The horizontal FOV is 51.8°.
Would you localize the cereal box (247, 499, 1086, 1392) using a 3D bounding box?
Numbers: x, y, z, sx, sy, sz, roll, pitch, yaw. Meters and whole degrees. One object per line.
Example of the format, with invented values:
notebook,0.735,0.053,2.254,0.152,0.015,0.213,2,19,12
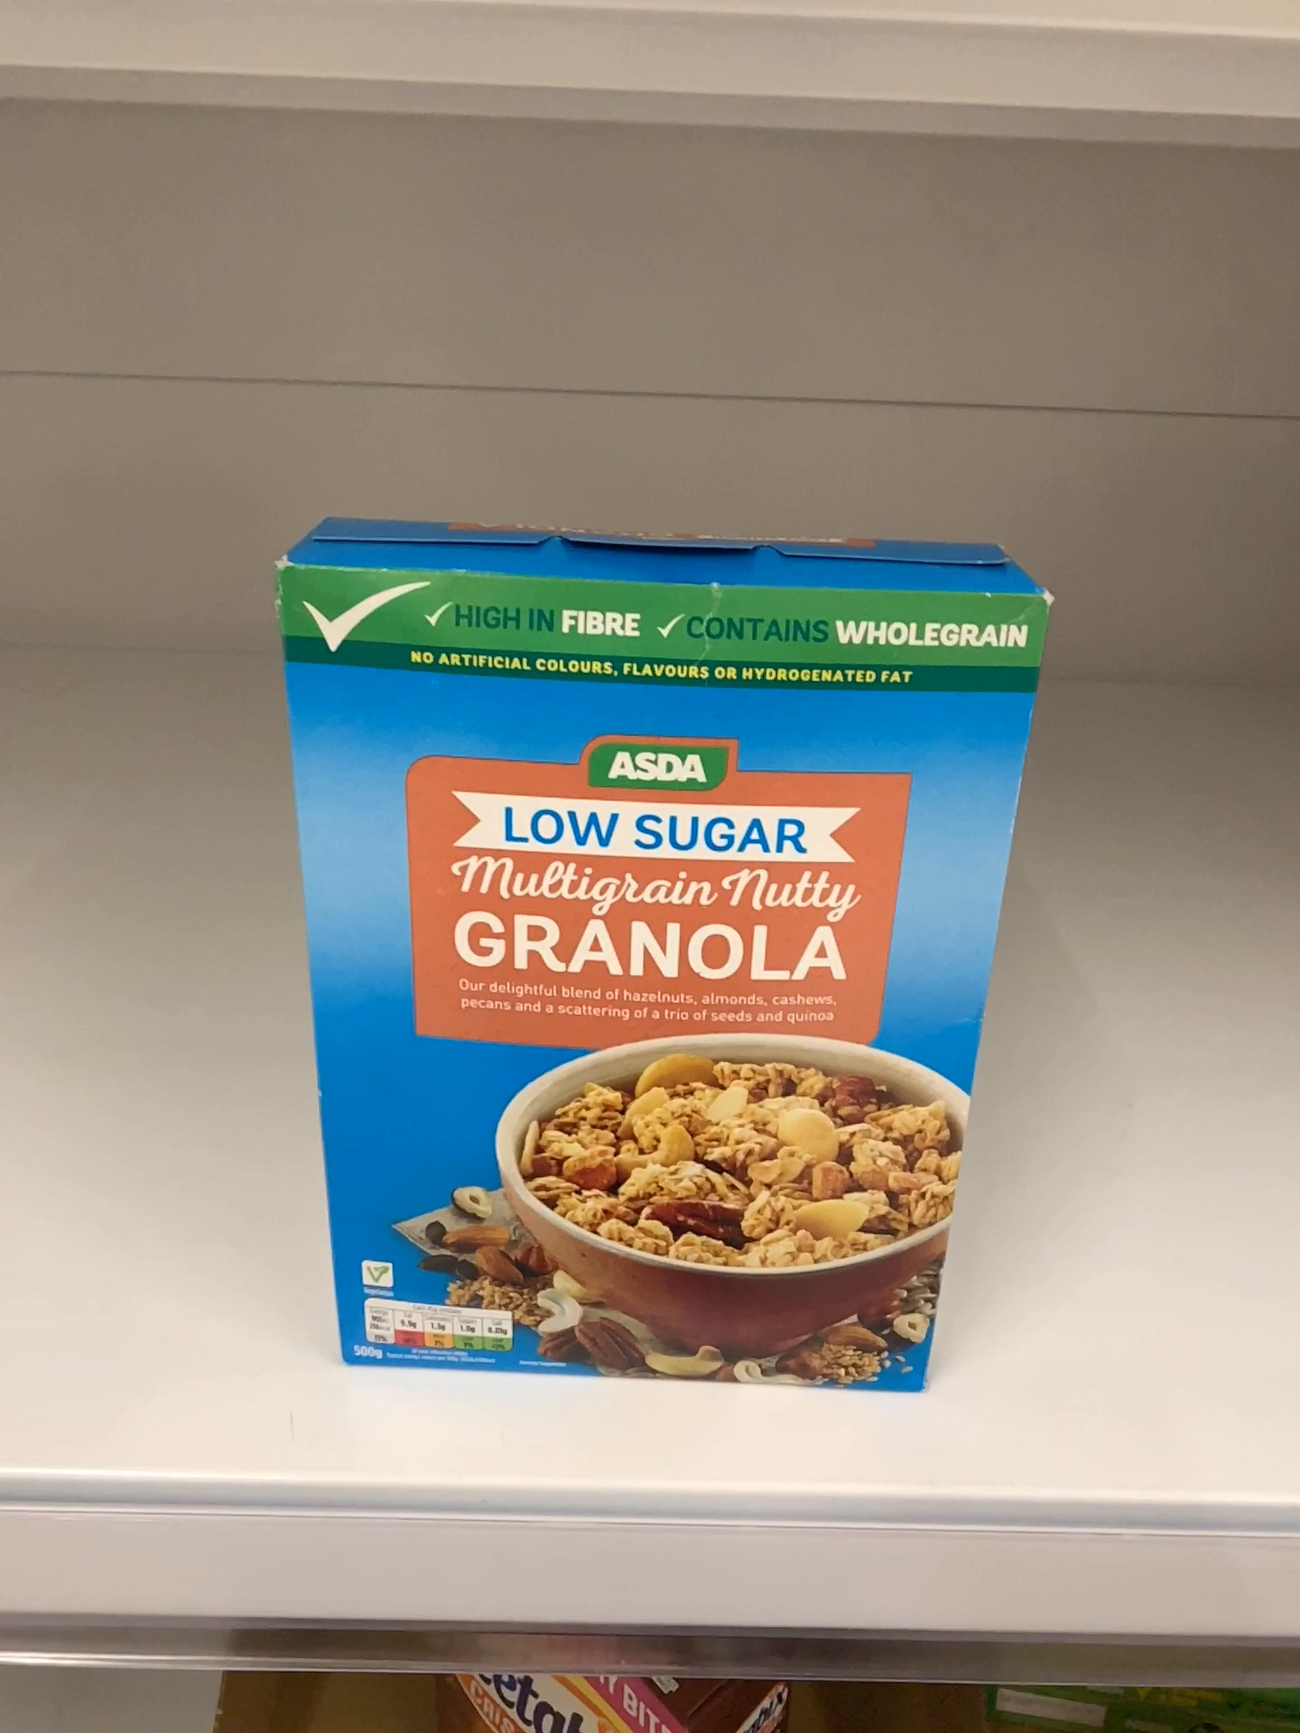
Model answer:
cereal box,0.000,0.031,0.384,0.190,0.248,0.061,3,26,1
